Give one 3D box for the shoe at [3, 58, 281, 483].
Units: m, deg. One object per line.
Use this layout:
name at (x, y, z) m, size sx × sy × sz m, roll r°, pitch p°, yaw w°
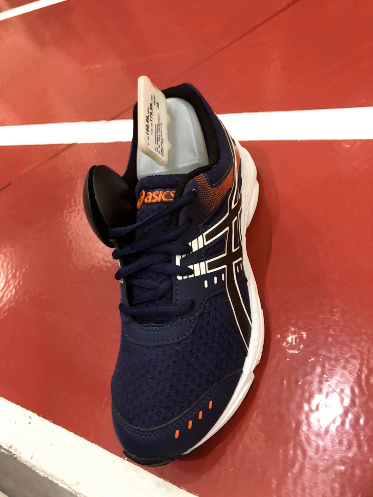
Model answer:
shoe at (-0.005, 0.008, 0.276) m, size 0.100 × 0.099 × 0.241 m, roll -5°, pitch 59°, yaw 26°
